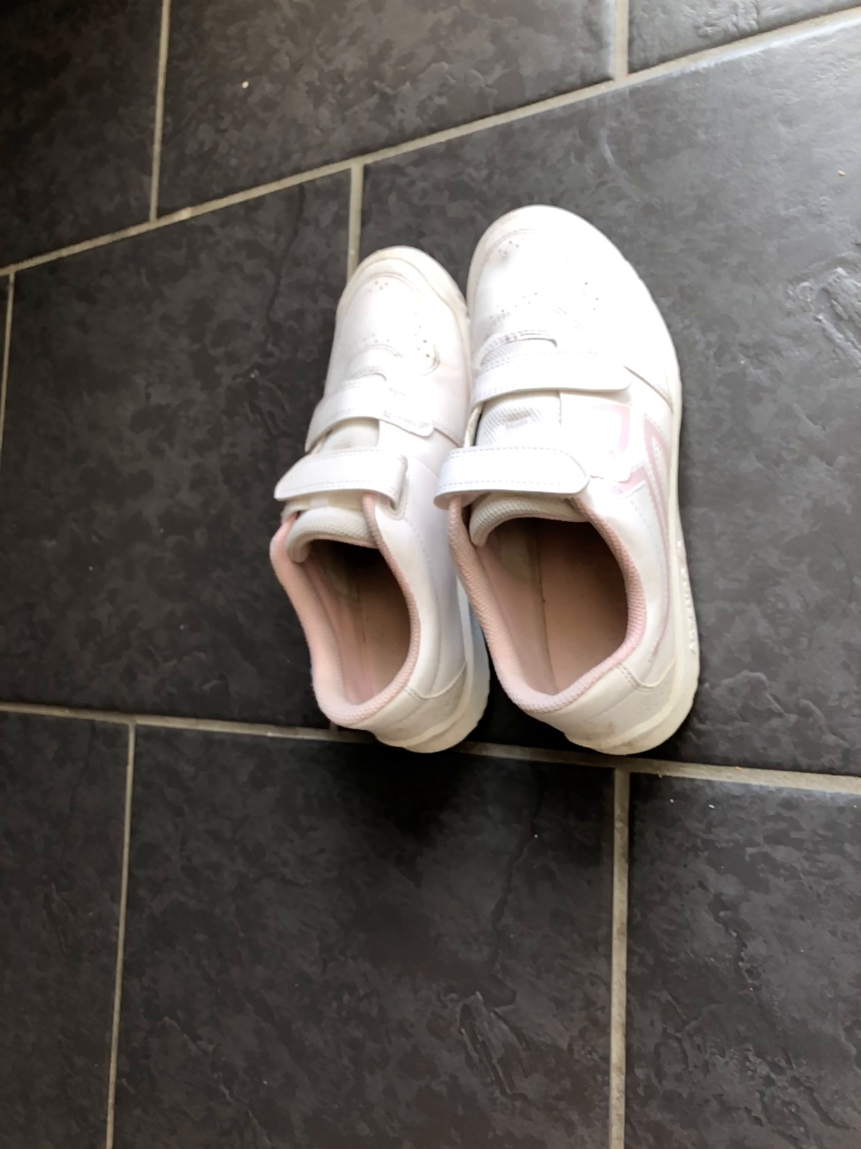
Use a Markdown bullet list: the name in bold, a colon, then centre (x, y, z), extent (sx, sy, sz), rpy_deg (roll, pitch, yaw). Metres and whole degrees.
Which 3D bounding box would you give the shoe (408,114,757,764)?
- **shoe**: centre (0.066, -0.049, 0.424), extent (0.095, 0.090, 0.250), rpy_deg (-12, 78, 31)

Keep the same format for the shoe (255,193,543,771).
- **shoe**: centre (-0.016, -0.035, 0.468), extent (0.096, 0.090, 0.250), rpy_deg (-8, 80, 31)
